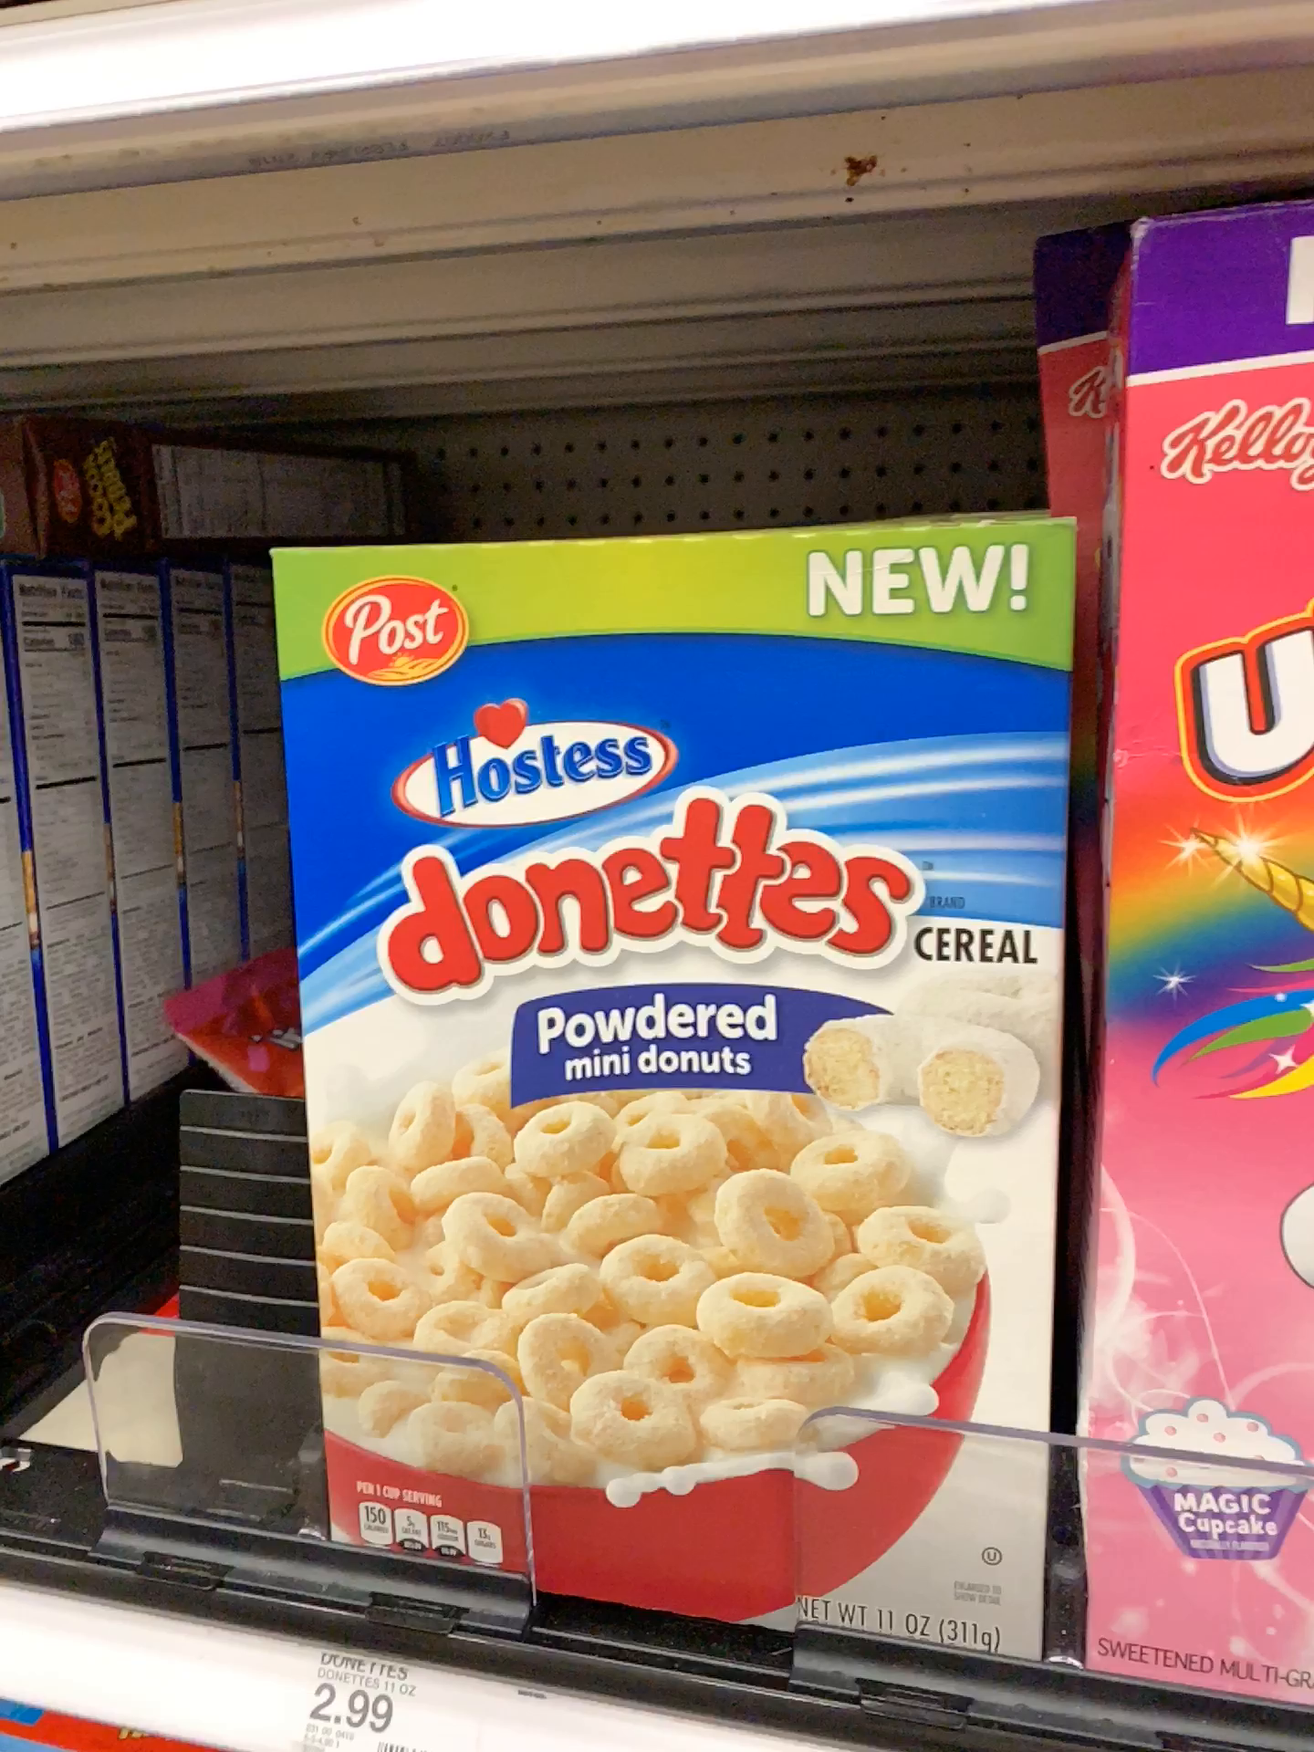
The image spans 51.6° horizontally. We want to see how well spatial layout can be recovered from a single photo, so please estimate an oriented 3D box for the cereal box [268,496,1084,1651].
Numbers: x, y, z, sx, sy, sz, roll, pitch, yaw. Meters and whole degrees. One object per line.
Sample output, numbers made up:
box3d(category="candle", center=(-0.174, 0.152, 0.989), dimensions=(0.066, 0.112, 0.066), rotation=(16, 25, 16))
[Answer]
box3d(category="cereal box", center=(0.006, 0.046, 0.357), dimensions=(0.190, 0.269, 0.060), rotation=(2, 10, 14))
